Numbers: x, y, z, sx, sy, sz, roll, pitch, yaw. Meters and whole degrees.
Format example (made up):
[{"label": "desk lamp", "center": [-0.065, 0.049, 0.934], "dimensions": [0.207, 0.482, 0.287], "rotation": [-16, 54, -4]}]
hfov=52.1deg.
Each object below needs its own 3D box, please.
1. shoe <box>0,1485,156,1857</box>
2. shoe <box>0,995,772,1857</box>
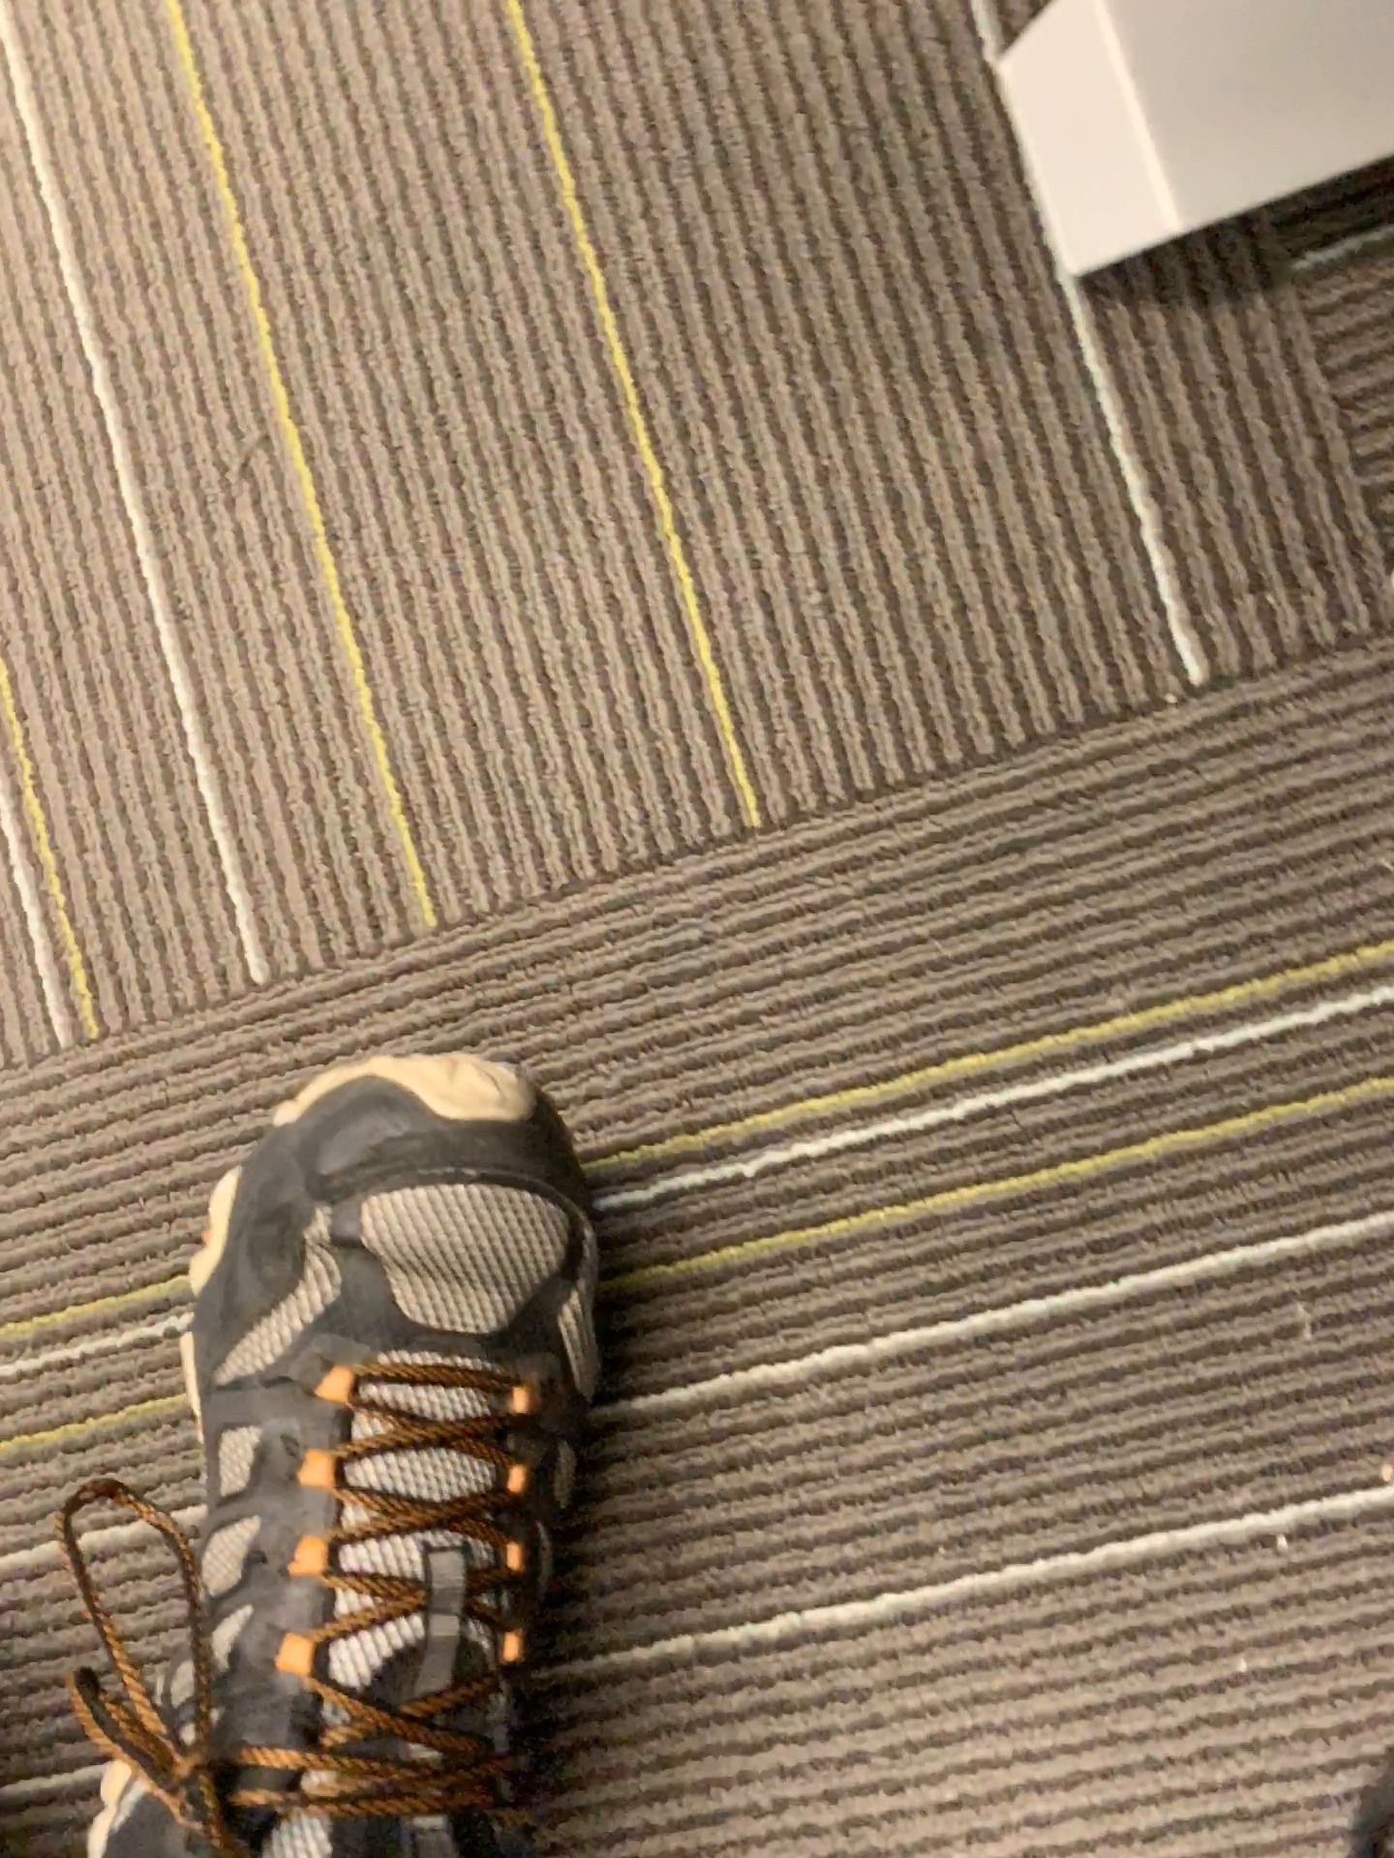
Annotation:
[{"label": "shoe", "center": [-0.270, 0.354, 0.404], "dimensions": [0.126, 0.119, 0.325], "rotation": [-15, 93, -29]}, {"label": "shoe", "center": [-0.098, 0.192, 0.376], "dimensions": [0.119, 0.119, 0.325], "rotation": [19, 100, 45]}]
